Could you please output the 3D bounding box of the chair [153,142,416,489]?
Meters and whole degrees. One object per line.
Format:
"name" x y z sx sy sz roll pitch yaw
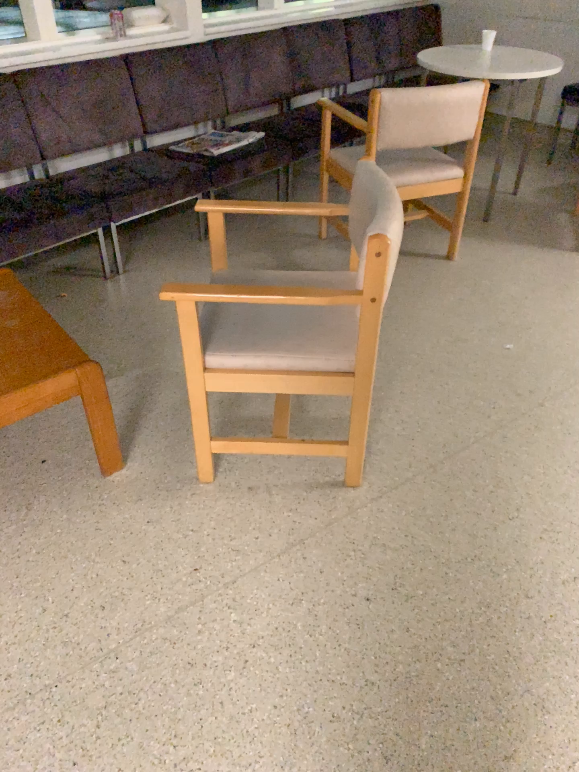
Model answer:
"chair" -0.005 -0.181 1.579 0.510 0.753 0.515 1 38 1
